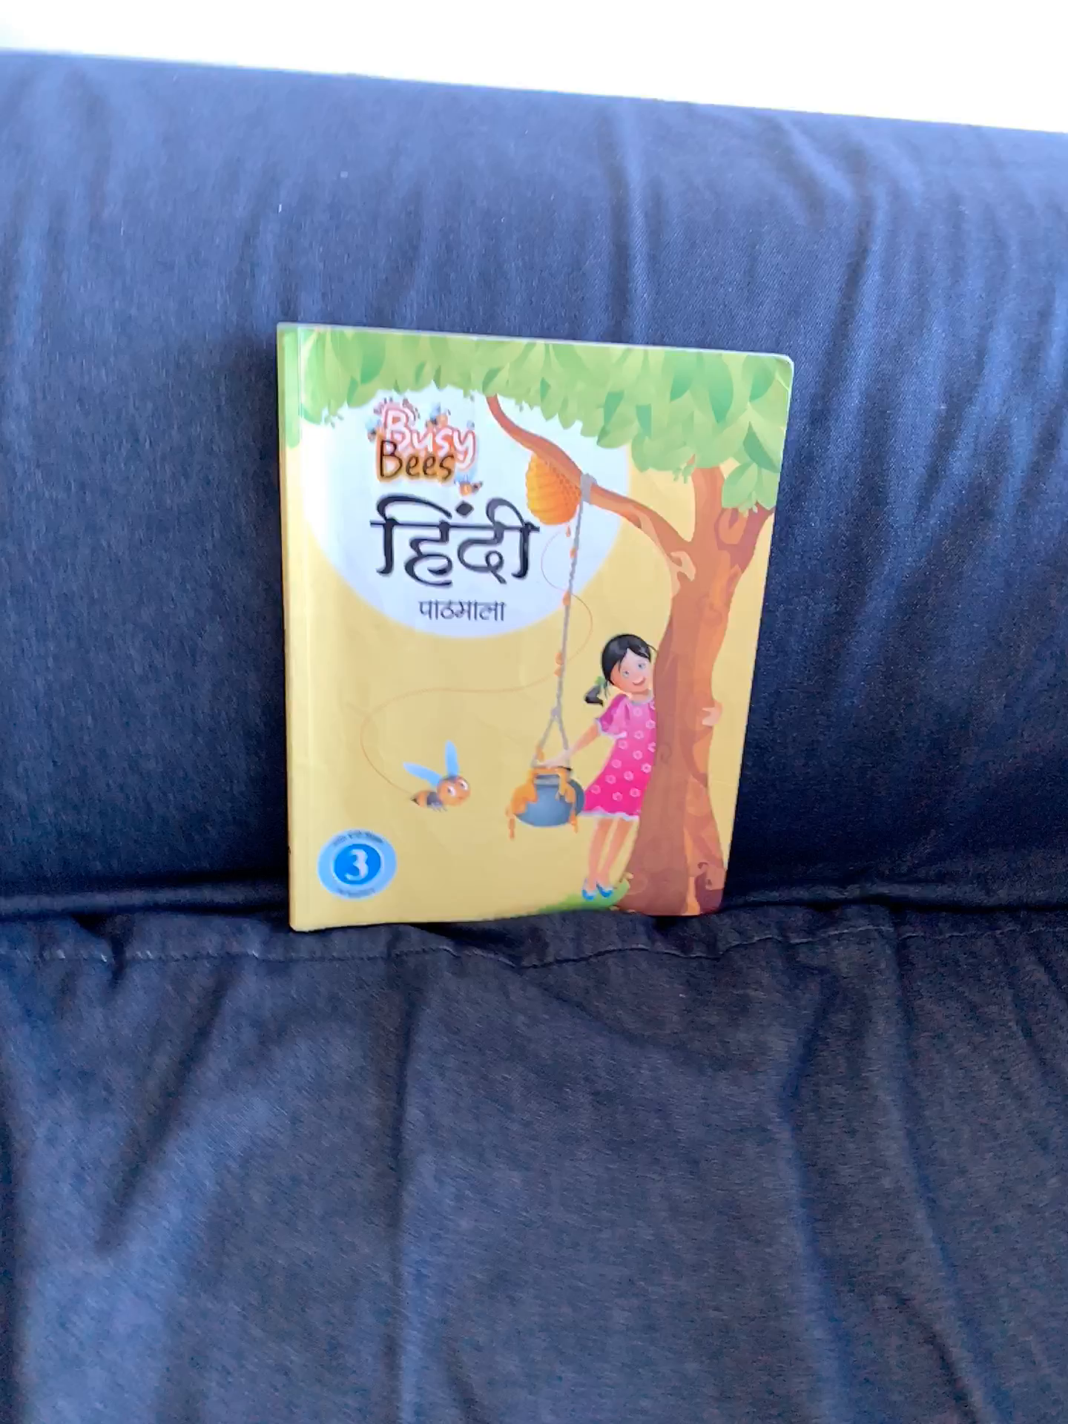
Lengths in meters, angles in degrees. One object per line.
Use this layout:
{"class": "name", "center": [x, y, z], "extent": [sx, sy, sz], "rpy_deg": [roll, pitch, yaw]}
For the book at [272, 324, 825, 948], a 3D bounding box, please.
{"class": "book", "center": [0.000, -0.024, 0.511], "extent": [0.230, 0.284, 0.029], "rpy_deg": [1, 19, -8]}
